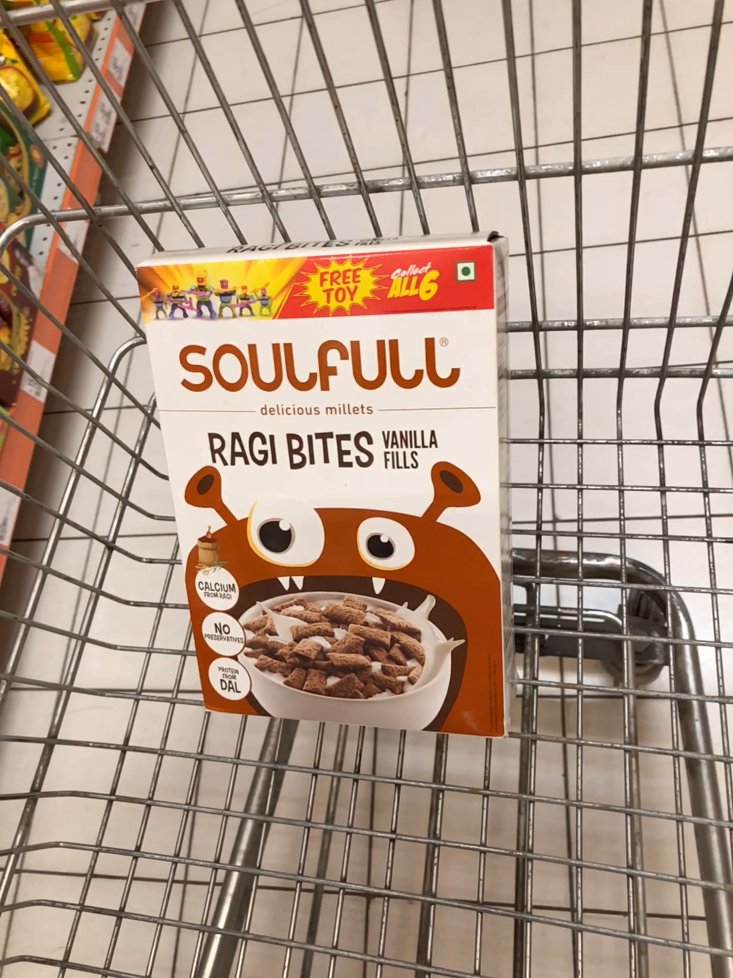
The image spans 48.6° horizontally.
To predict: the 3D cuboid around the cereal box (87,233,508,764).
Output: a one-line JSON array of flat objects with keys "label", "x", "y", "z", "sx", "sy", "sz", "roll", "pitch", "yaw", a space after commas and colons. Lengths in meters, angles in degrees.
[{"label": "cereal box", "x": -0.022, "y": 0.006, "z": 0.416, "sx": 0.180, "sy": 0.249, "sz": 0.070, "roll": 1, "pitch": 21, "yaw": 14}]
